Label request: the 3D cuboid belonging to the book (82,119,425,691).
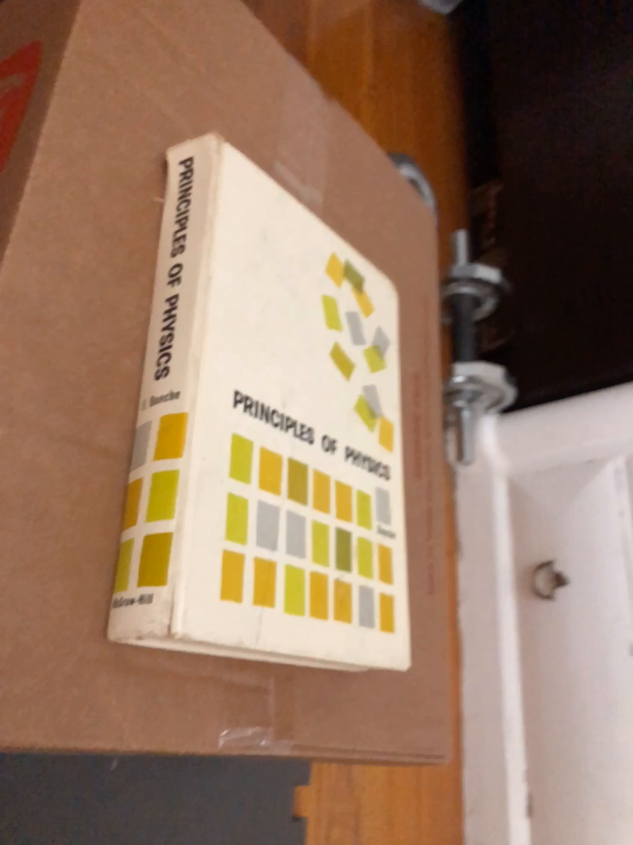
[{"bbox_3d":[-0.012,0.000,0.370,0.181,0.040,0.250,28,55,-44],"label":"book"}]
